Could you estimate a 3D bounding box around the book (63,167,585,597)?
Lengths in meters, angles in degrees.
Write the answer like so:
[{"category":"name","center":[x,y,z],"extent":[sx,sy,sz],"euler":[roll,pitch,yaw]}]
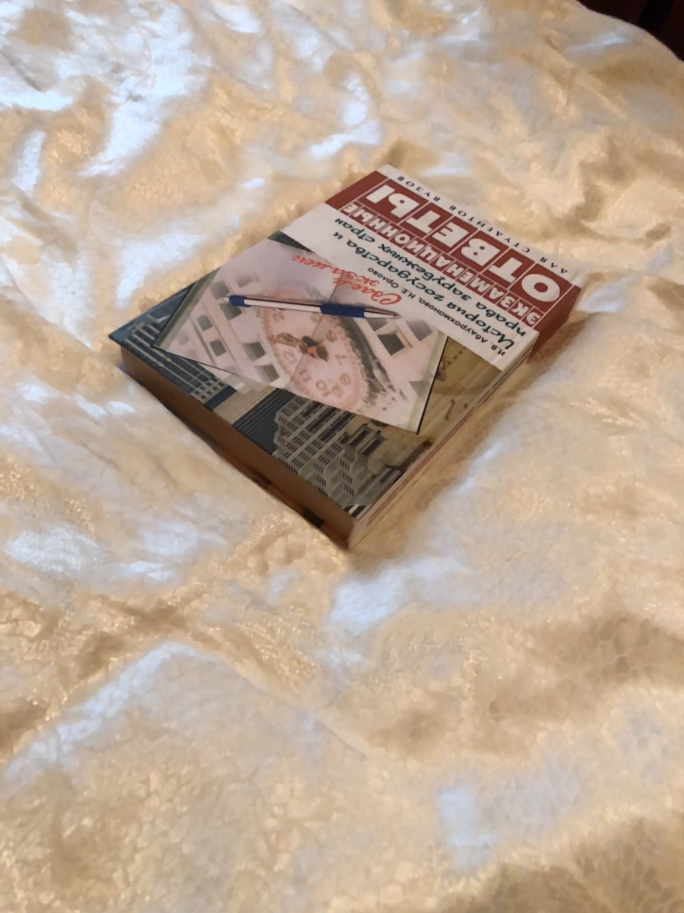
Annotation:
[{"category":"book","center":[0.002,-0.056,0.369],"extent":[0.150,0.030,0.211],"euler":[36,55,16]}]
